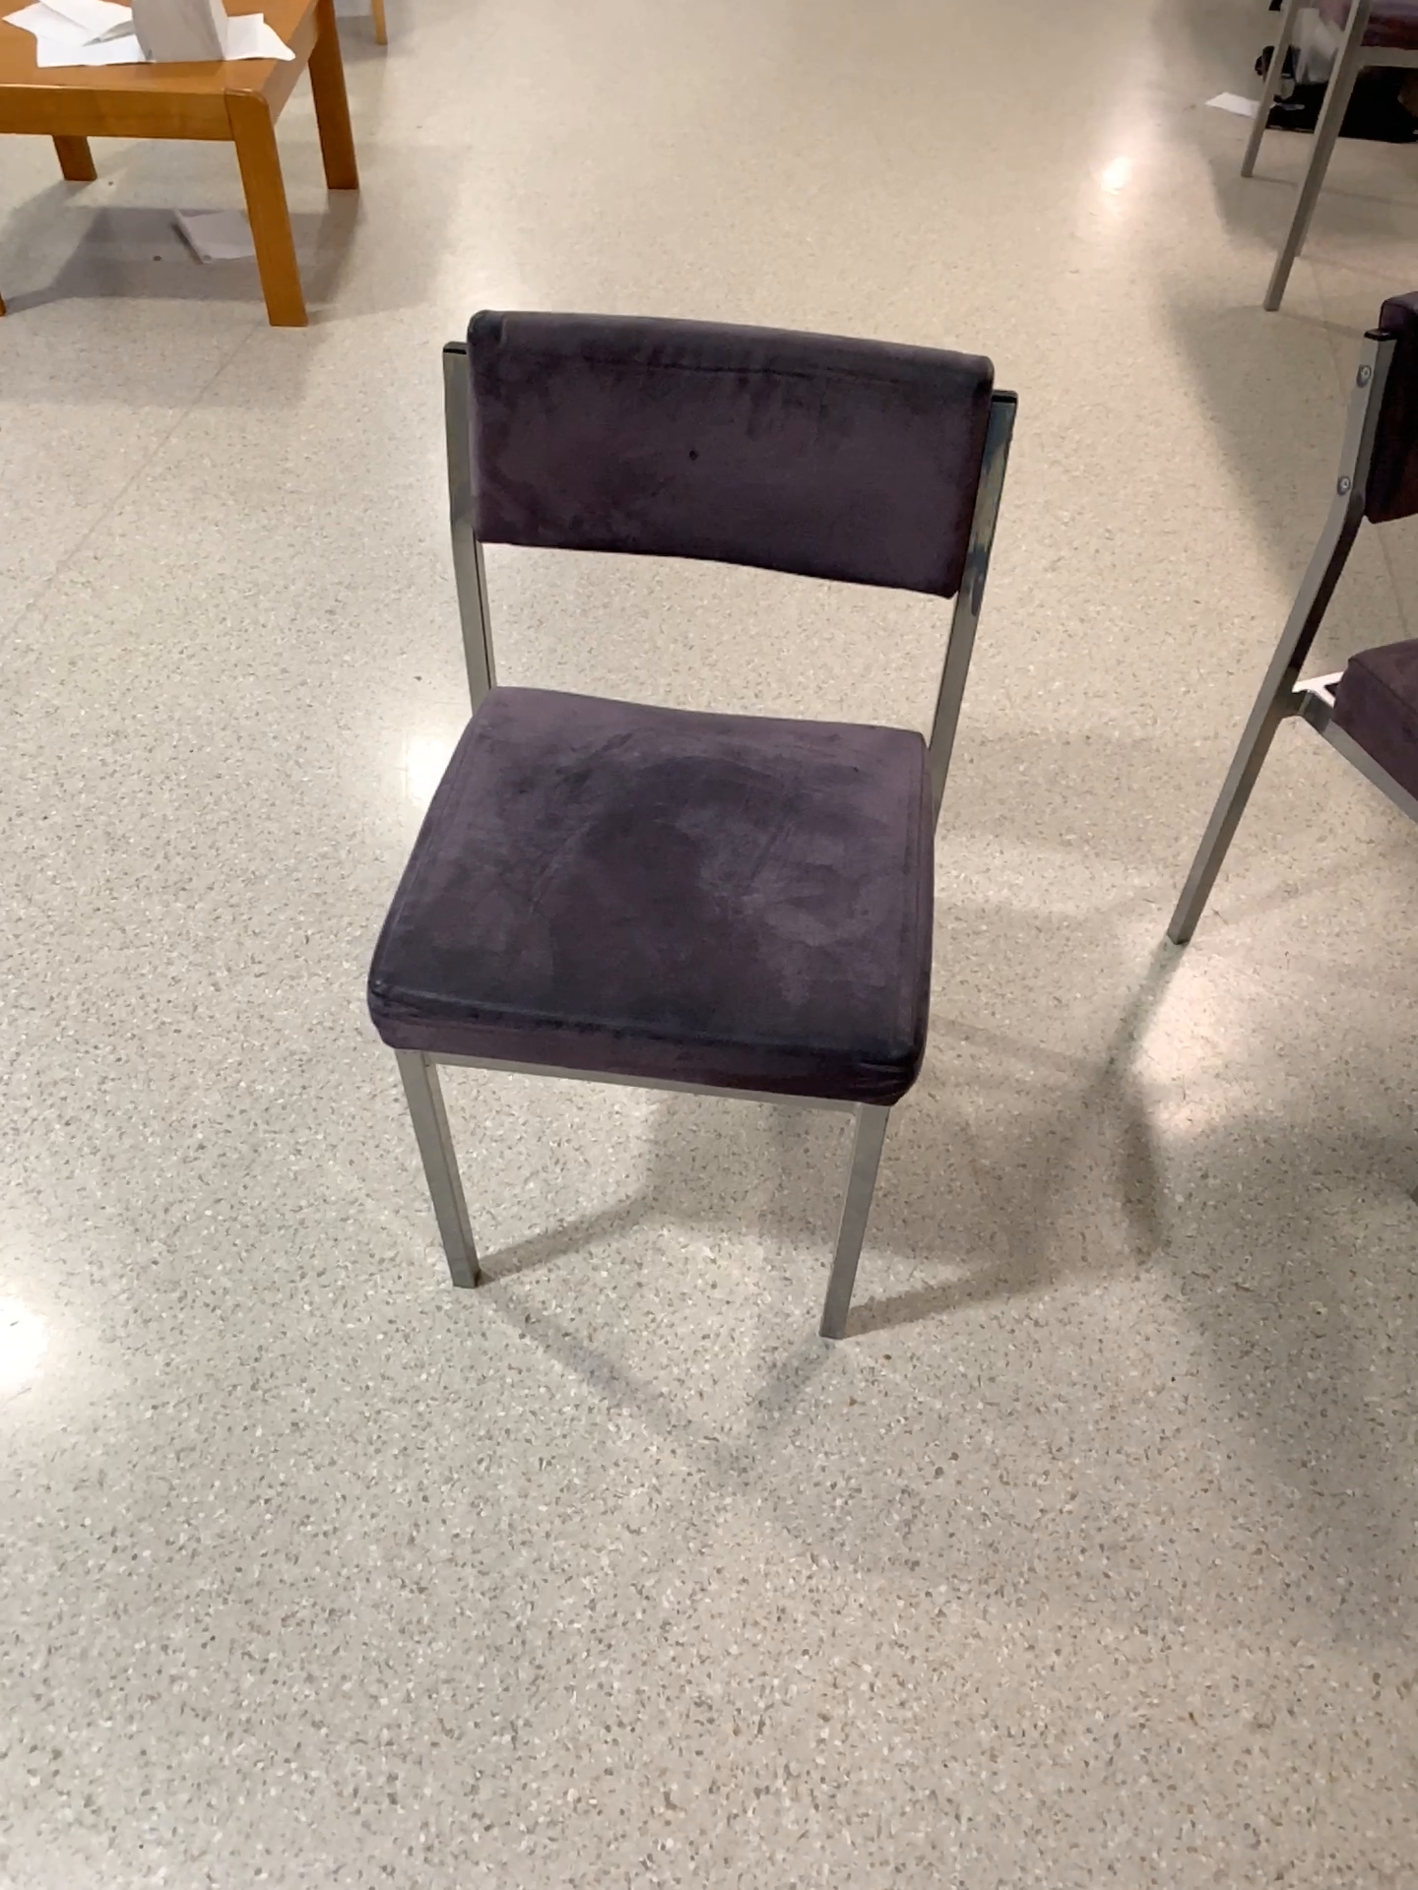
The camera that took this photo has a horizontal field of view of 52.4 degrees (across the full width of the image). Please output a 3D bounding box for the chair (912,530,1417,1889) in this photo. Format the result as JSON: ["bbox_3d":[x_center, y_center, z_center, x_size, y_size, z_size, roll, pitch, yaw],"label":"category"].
[{"bbox_3d":[0.517,0.347,0.603,0.511,0.614,0.746,-18,51,-14],"label":"chair"}]

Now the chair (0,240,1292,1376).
[{"bbox_3d":[-0.018,-0.132,1.145,0.680,0.505,0.686,6,48,3],"label":"chair"}]

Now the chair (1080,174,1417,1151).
[{"bbox_3d":[0.850,-0.287,1.345,0.741,0.614,0.514,-12,42,-13],"label":"chair"}]
